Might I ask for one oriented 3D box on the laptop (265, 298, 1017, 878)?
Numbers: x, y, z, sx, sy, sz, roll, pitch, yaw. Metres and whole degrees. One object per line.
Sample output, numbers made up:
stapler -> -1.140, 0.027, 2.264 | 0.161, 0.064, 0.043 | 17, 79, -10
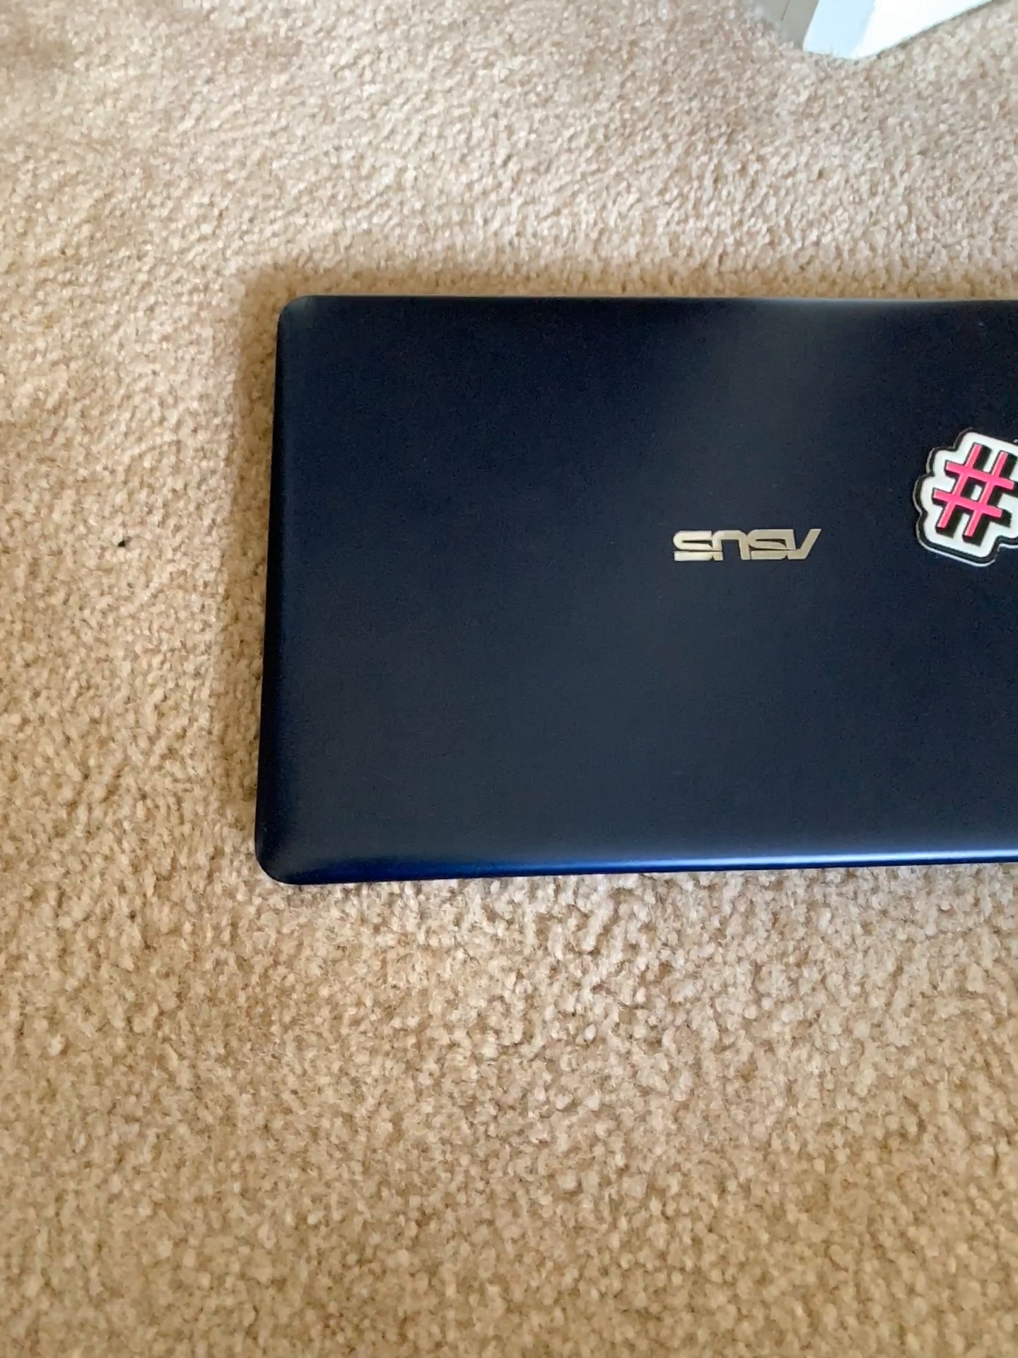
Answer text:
laptop -> 0.067, -0.036, 0.316 | 0.271, 0.006, 0.182 | -1, 70, -4
